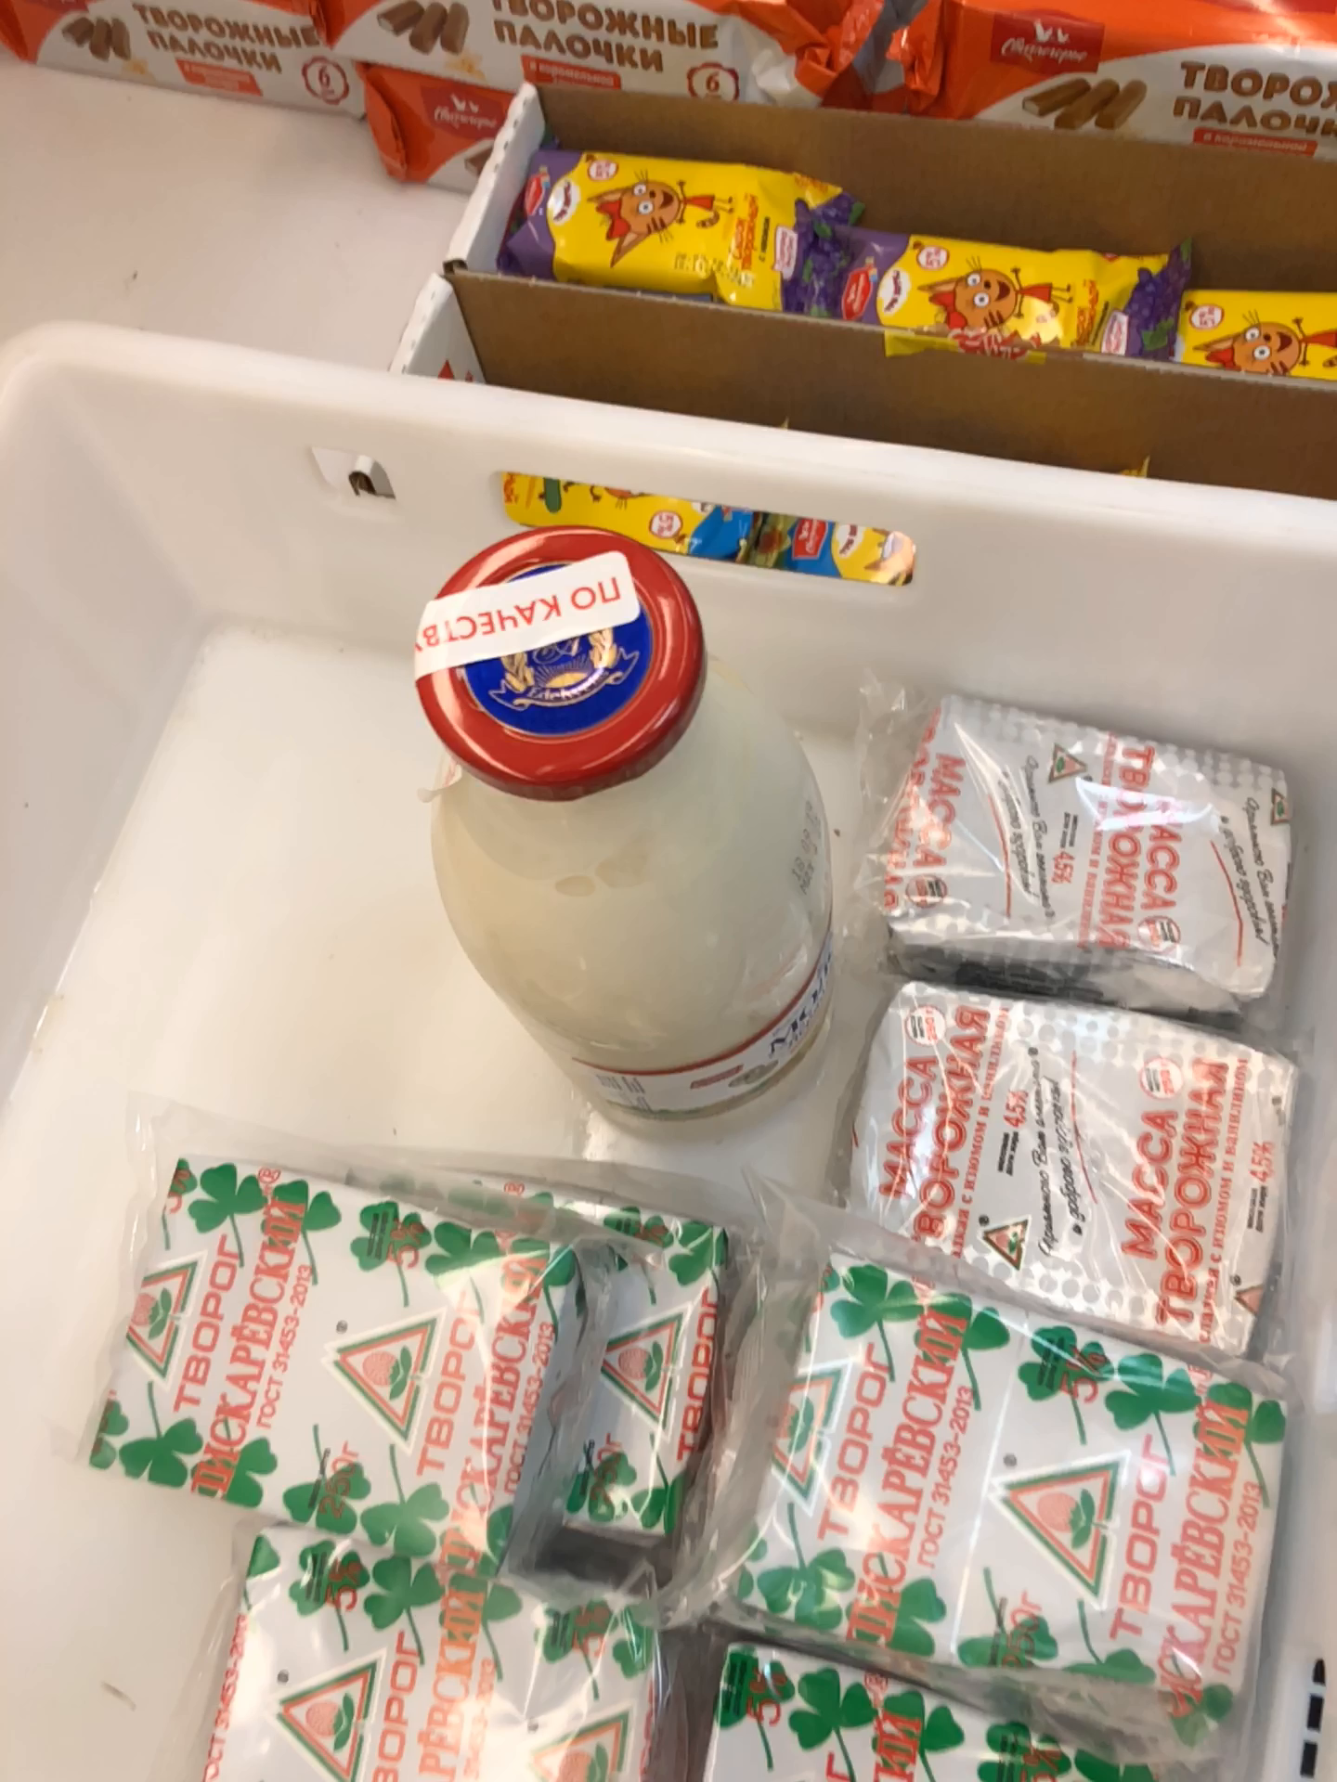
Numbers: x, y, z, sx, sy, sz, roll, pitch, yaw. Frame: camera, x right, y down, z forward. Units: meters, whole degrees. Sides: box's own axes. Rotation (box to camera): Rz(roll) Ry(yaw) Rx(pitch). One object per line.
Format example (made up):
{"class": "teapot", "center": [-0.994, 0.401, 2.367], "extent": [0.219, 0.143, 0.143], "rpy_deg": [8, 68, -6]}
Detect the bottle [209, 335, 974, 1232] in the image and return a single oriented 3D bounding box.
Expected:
{"class": "bottle", "center": [0.002, -0.001, 0.316], "extent": [0.090, 0.209, 0.090], "rpy_deg": [-3, 68, 6]}
